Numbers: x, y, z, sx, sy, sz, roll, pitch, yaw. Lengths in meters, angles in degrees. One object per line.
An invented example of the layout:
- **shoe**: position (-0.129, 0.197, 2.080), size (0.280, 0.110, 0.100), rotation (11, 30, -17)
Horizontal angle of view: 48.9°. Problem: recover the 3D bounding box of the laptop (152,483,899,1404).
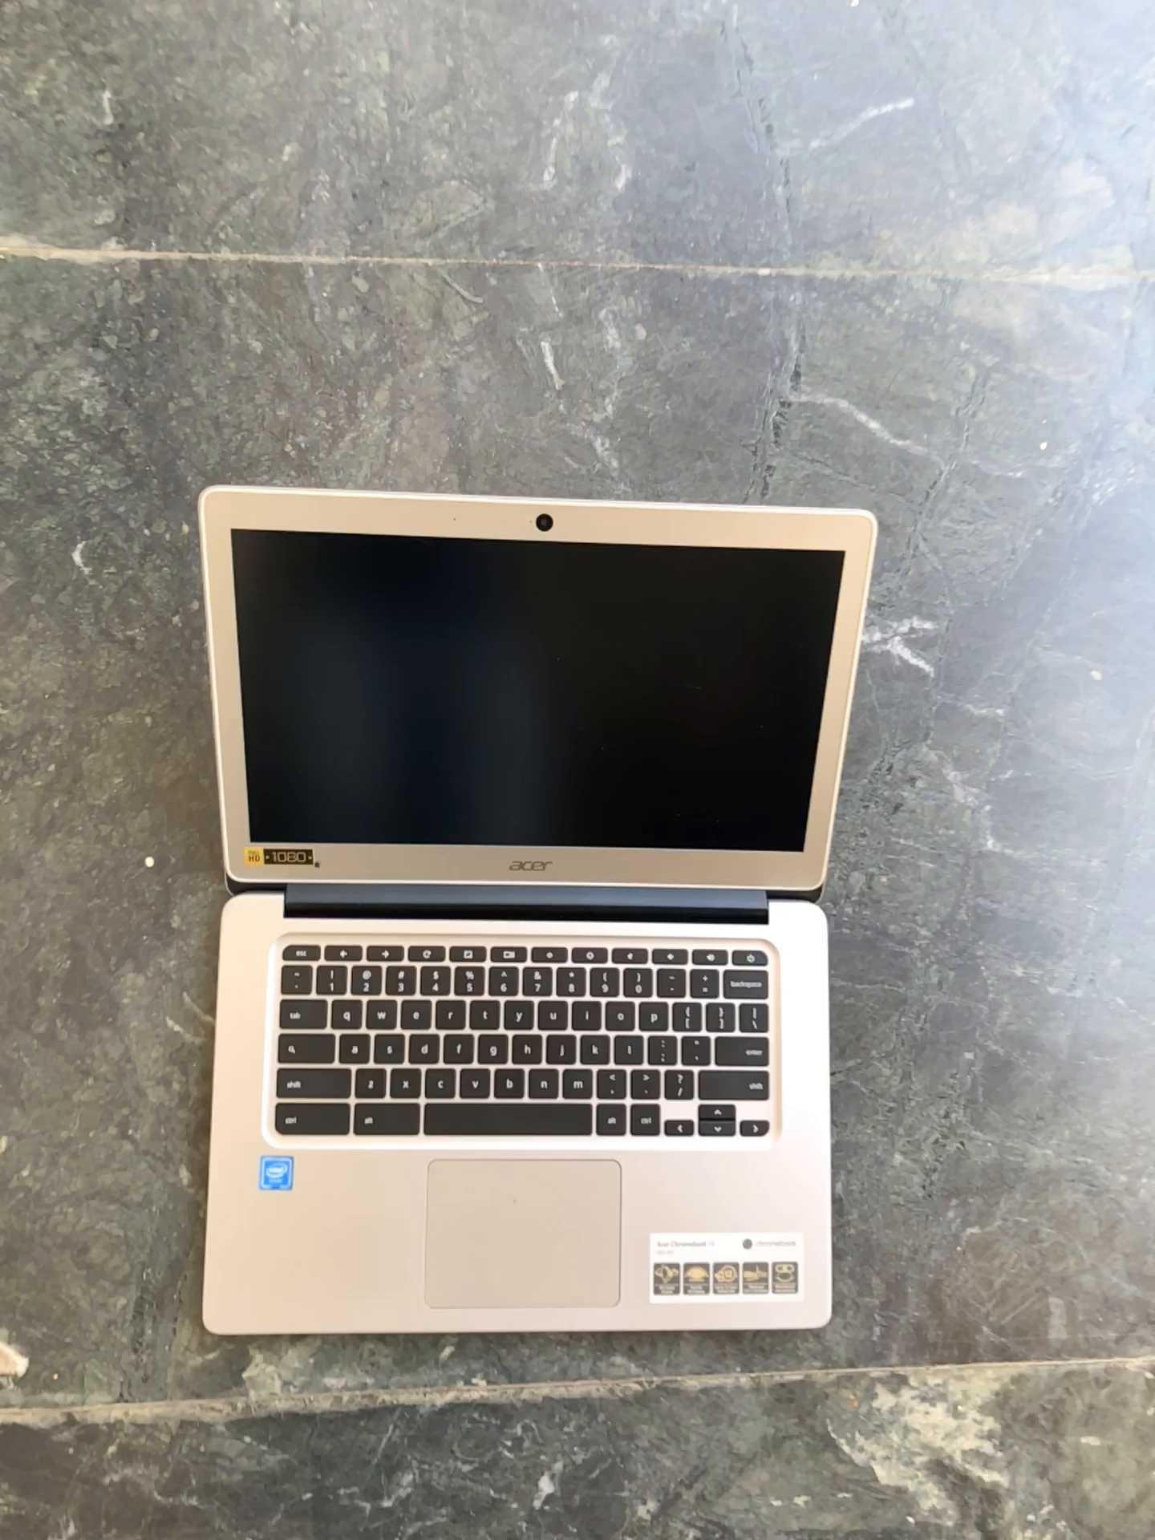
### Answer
- **laptop**: position (-0.021, 0.082, 0.660), size (0.338, 0.117, 0.423), rotation (1, 82, -4)
